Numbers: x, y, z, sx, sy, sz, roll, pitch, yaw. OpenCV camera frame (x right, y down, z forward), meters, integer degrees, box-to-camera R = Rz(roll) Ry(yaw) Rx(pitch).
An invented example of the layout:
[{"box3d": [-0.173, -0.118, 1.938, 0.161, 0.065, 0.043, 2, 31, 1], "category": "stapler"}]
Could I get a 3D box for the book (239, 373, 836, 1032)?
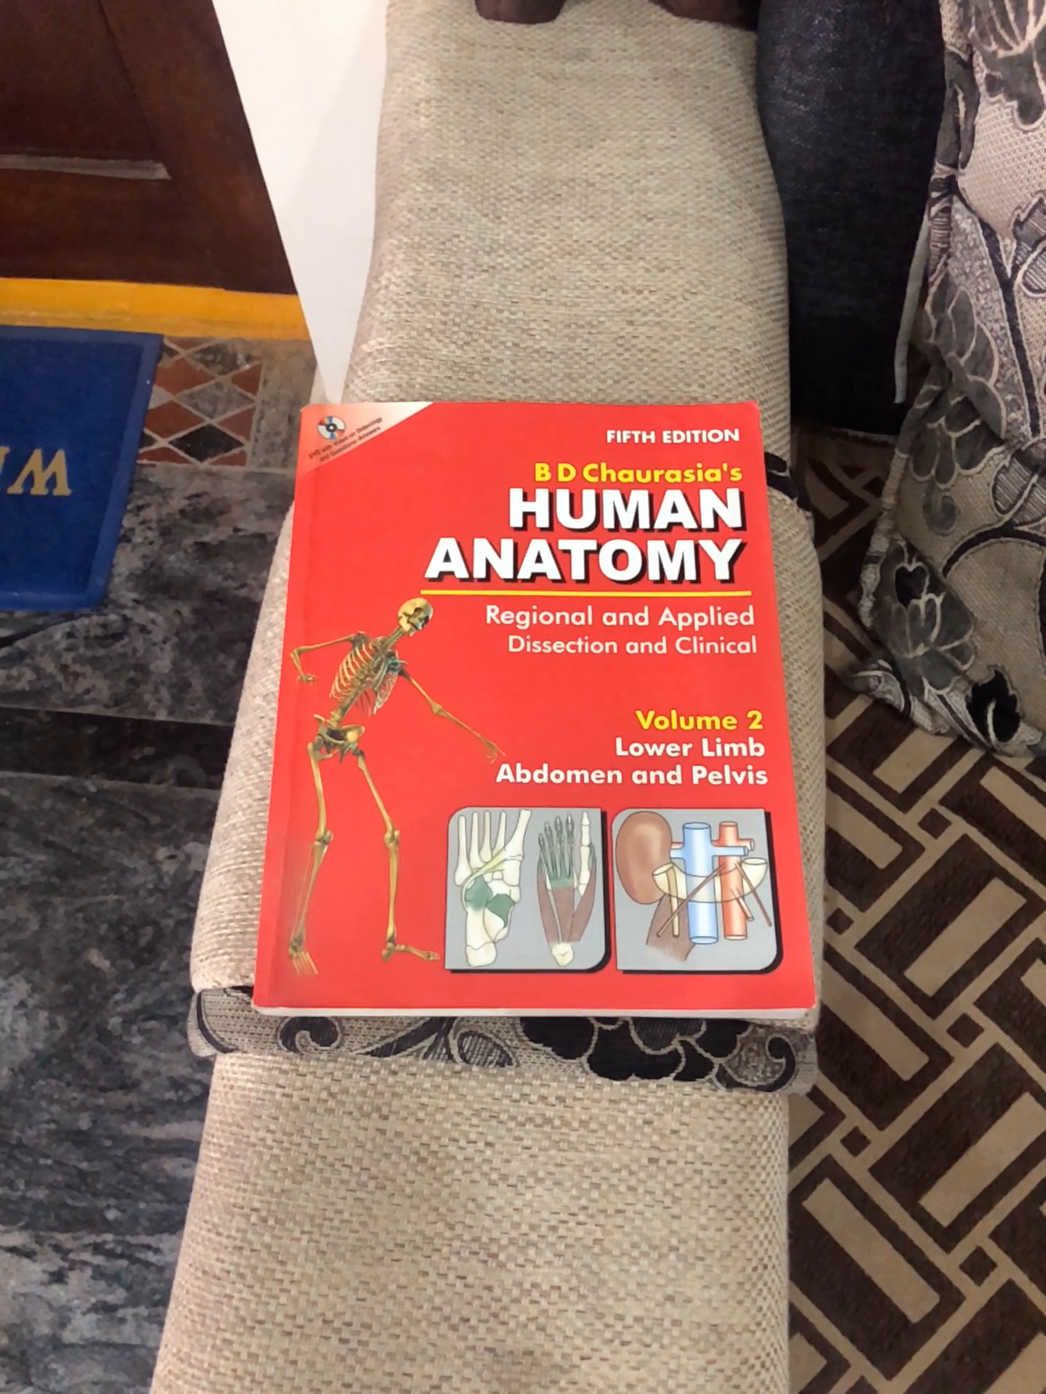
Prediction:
[{"box3d": [0.006, -0.008, 0.499, 0.220, 0.040, 0.290, 0, 68, 1], "category": "book"}]
